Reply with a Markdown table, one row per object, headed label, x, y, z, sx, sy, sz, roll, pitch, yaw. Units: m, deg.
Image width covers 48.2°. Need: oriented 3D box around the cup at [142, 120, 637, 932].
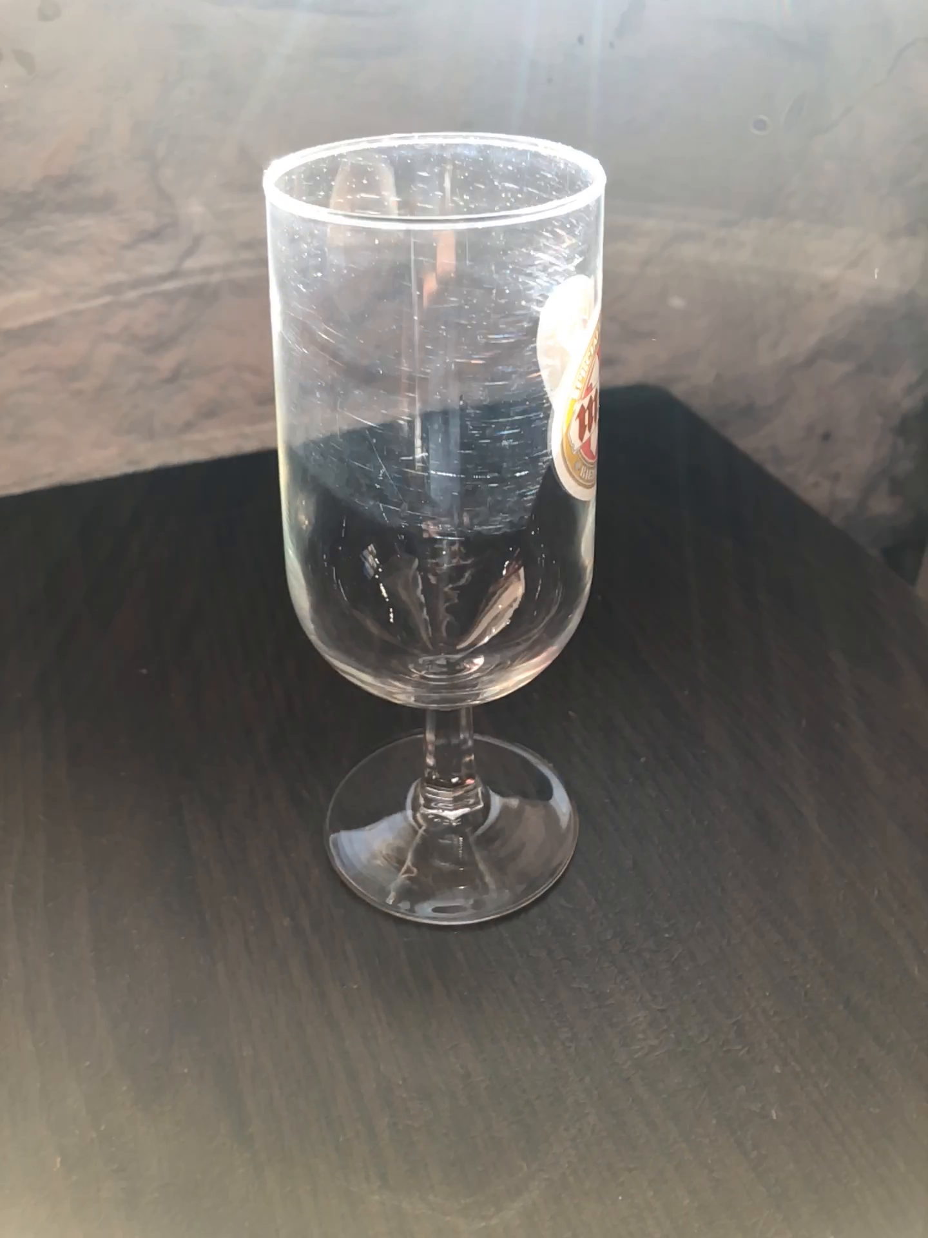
| label | x | y | z | sx | sy | sz | roll | pitch | yaw |
| --- | --- | --- | --- | --- | --- | --- | --- | --- | --- |
| cup | -0.007 | -0.013 | 0.218 | 0.070 | 0.155 | 0.068 | -1 | 35 | 1 |
